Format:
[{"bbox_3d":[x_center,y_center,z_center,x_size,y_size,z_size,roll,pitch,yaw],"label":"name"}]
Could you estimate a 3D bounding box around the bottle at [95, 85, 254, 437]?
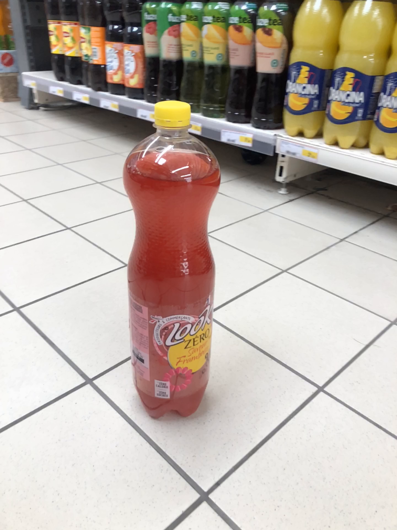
[{"bbox_3d":[-0.028,0.005,0.433,0.100,0.328,0.090,-12,32,-26],"label":"bottle"}]
